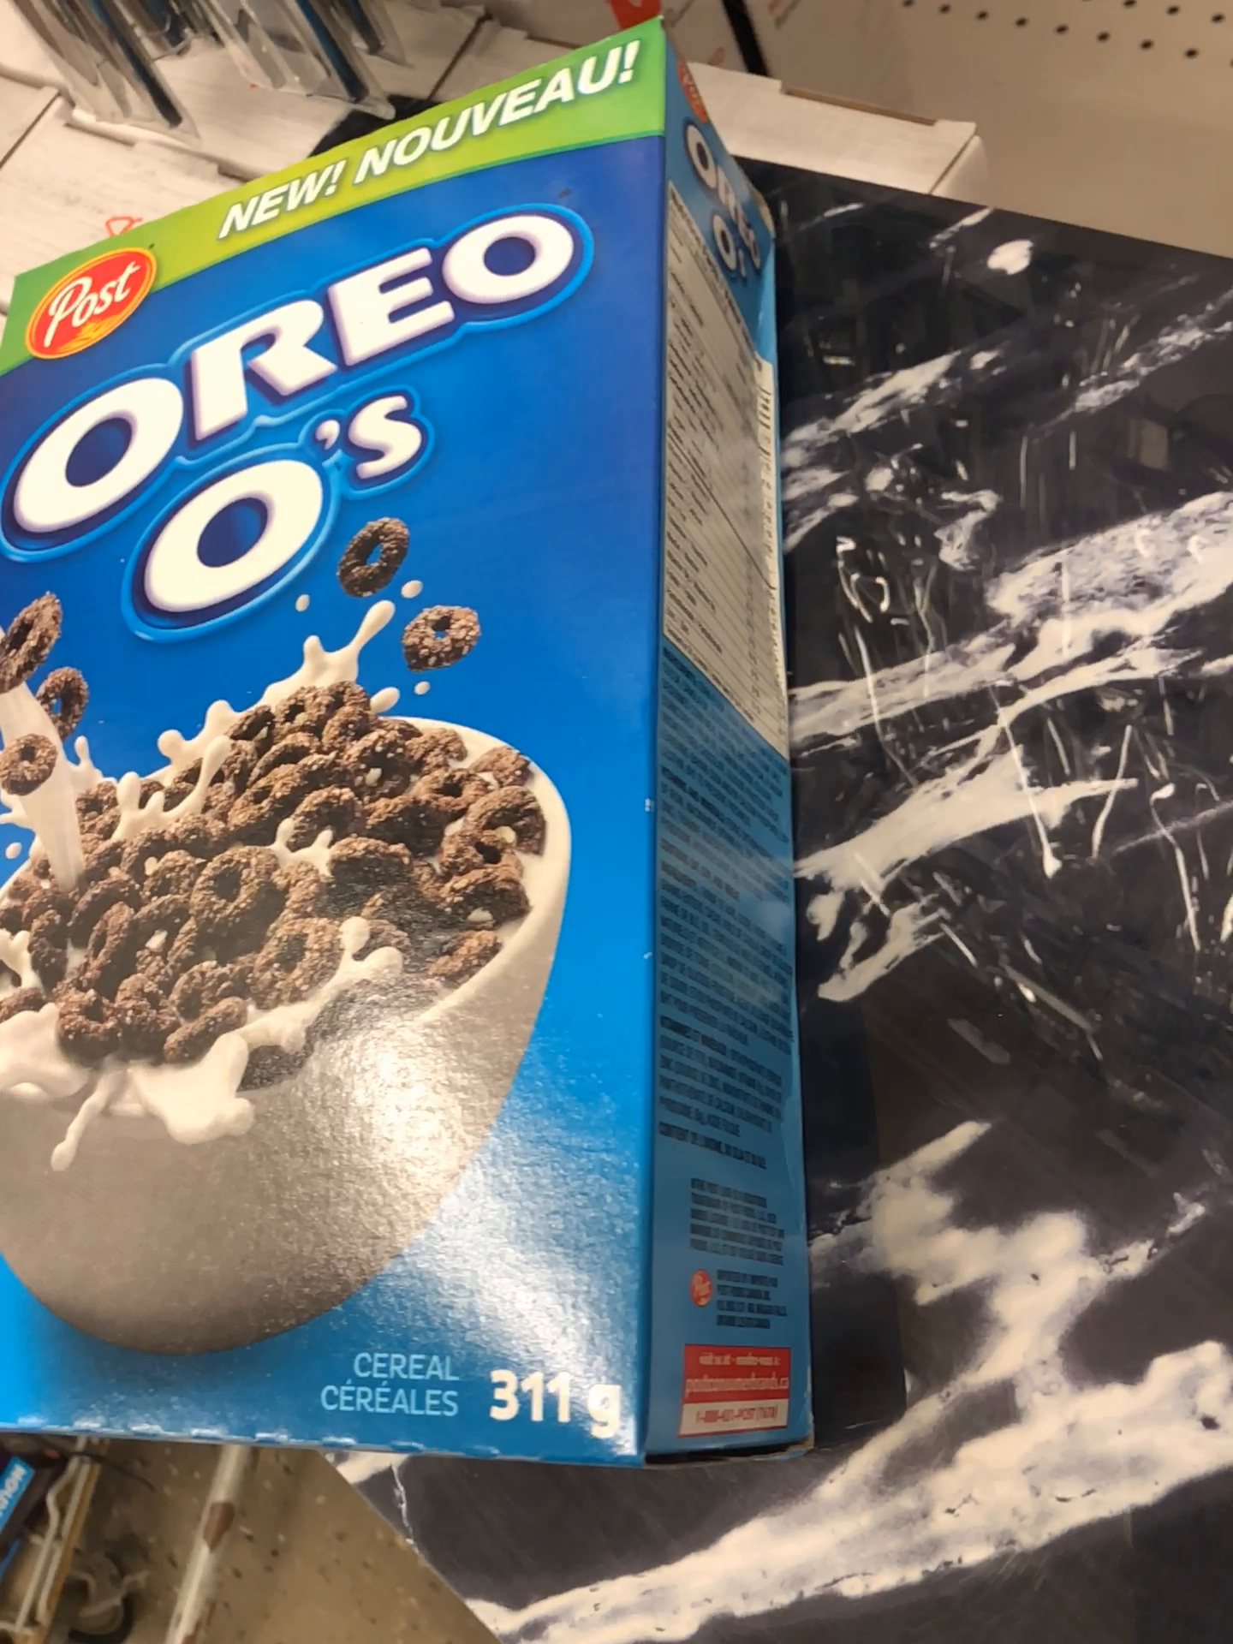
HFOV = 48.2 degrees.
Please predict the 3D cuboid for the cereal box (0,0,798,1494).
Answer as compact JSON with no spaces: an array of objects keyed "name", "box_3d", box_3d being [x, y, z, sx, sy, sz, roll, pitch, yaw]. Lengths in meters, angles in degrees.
[{"name":"cereal box","box_3d":[-0.072,-0.024,0.309,0.210,0.070,0.300,-8,65,23]}]
